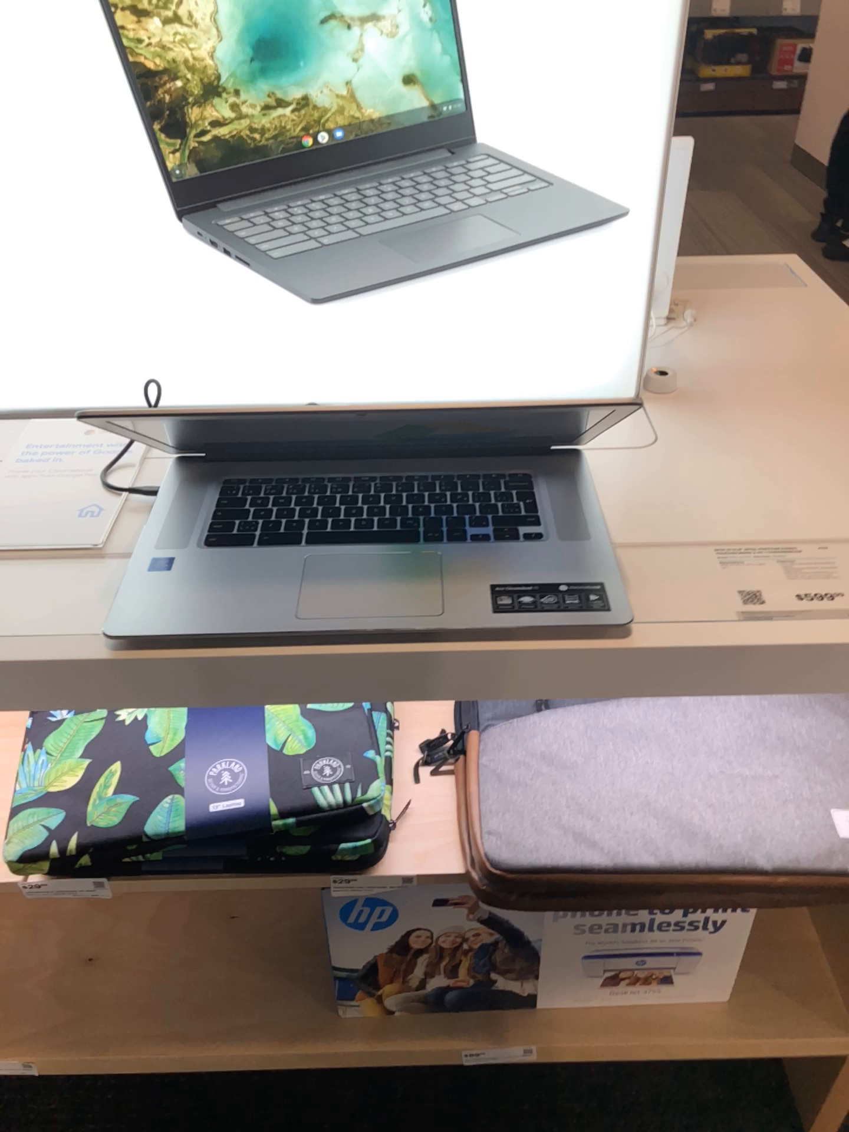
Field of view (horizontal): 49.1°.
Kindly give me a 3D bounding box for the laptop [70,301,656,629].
[{"bbox_3d":[-0.038,-0.088,0.714,0.364,0.146,0.232,-1,37,-3],"label":"laptop"}]
